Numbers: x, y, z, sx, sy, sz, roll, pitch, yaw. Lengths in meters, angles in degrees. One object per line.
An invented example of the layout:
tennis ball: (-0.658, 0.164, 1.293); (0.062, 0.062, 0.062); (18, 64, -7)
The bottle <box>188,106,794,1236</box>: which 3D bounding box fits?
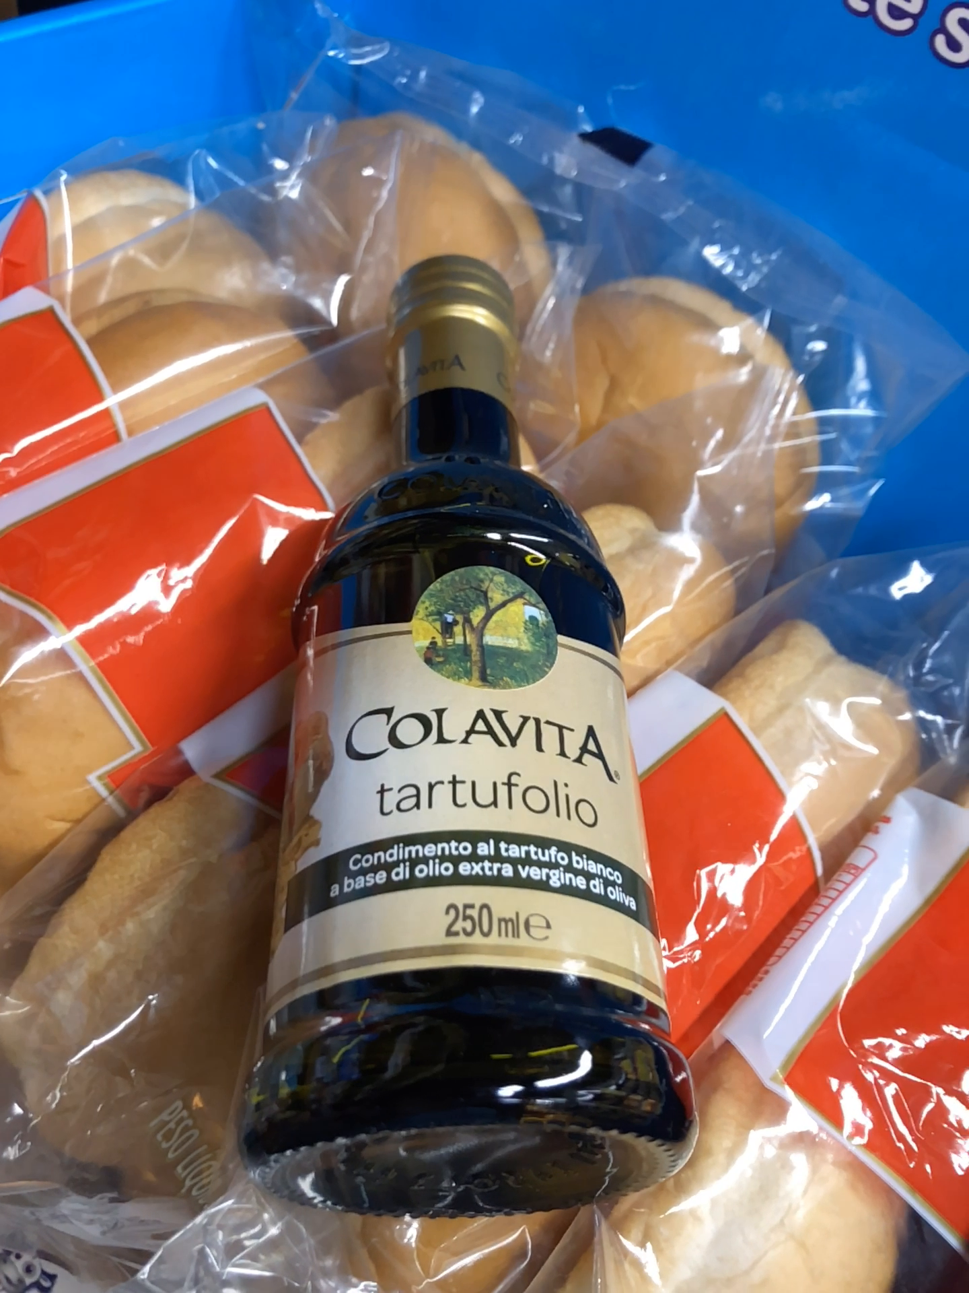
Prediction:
bottle: (-0.006, -0.011, 0.207); (0.070, 0.060, 0.211); (3, 56, -8)
